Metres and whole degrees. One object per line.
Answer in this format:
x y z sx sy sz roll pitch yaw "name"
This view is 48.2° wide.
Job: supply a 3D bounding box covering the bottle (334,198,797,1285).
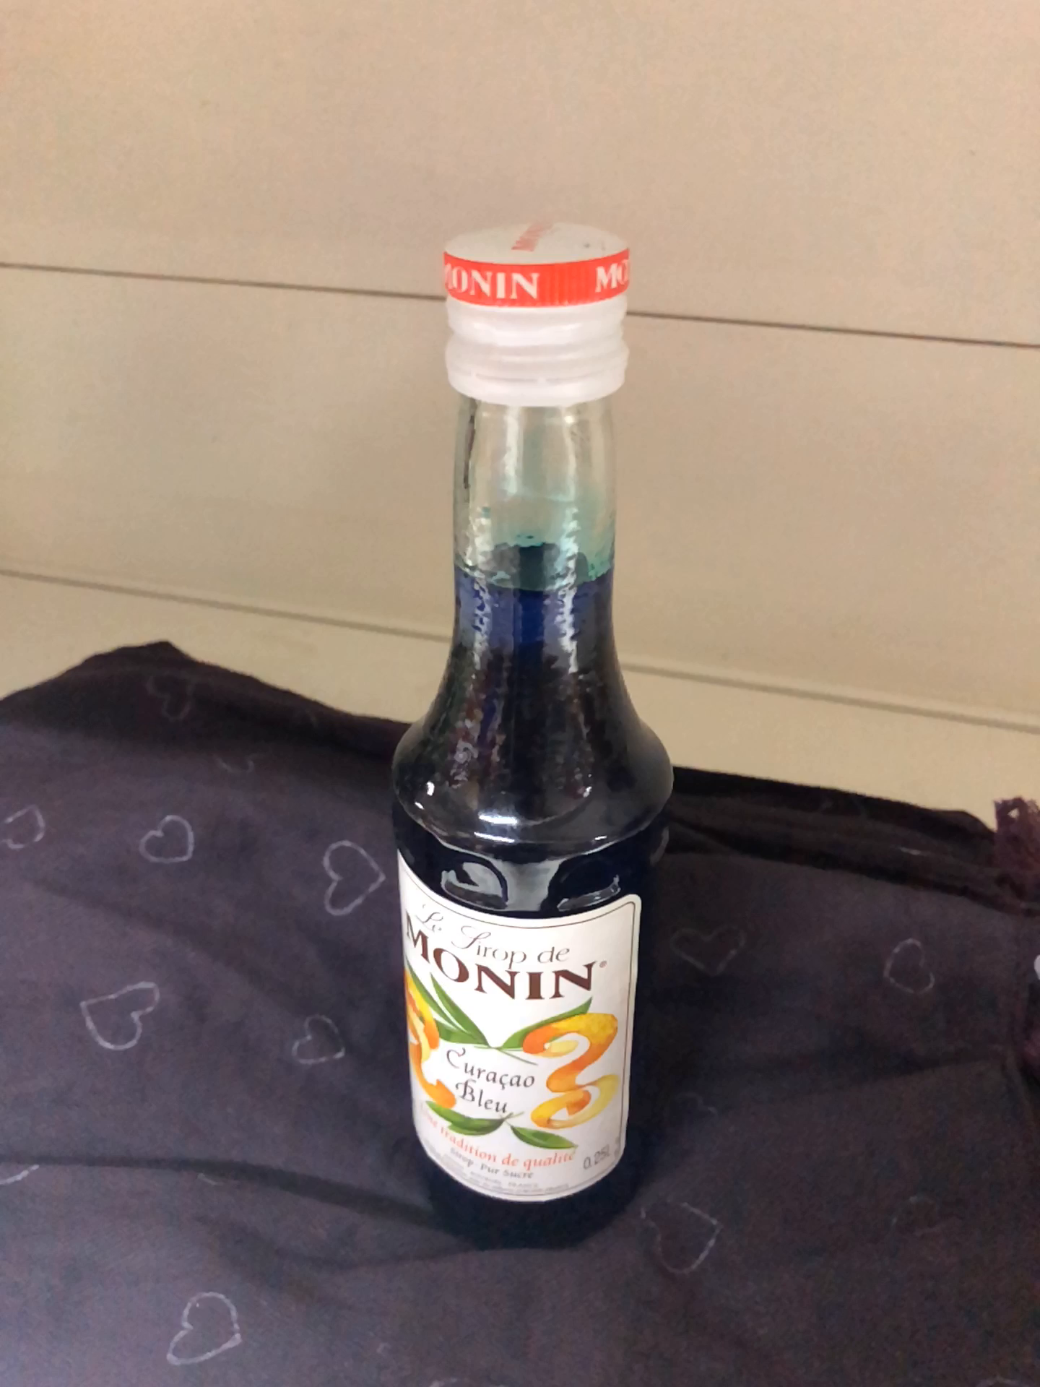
0.007 0.019 0.230 0.060 0.209 0.050 10 30 15 "bottle"
